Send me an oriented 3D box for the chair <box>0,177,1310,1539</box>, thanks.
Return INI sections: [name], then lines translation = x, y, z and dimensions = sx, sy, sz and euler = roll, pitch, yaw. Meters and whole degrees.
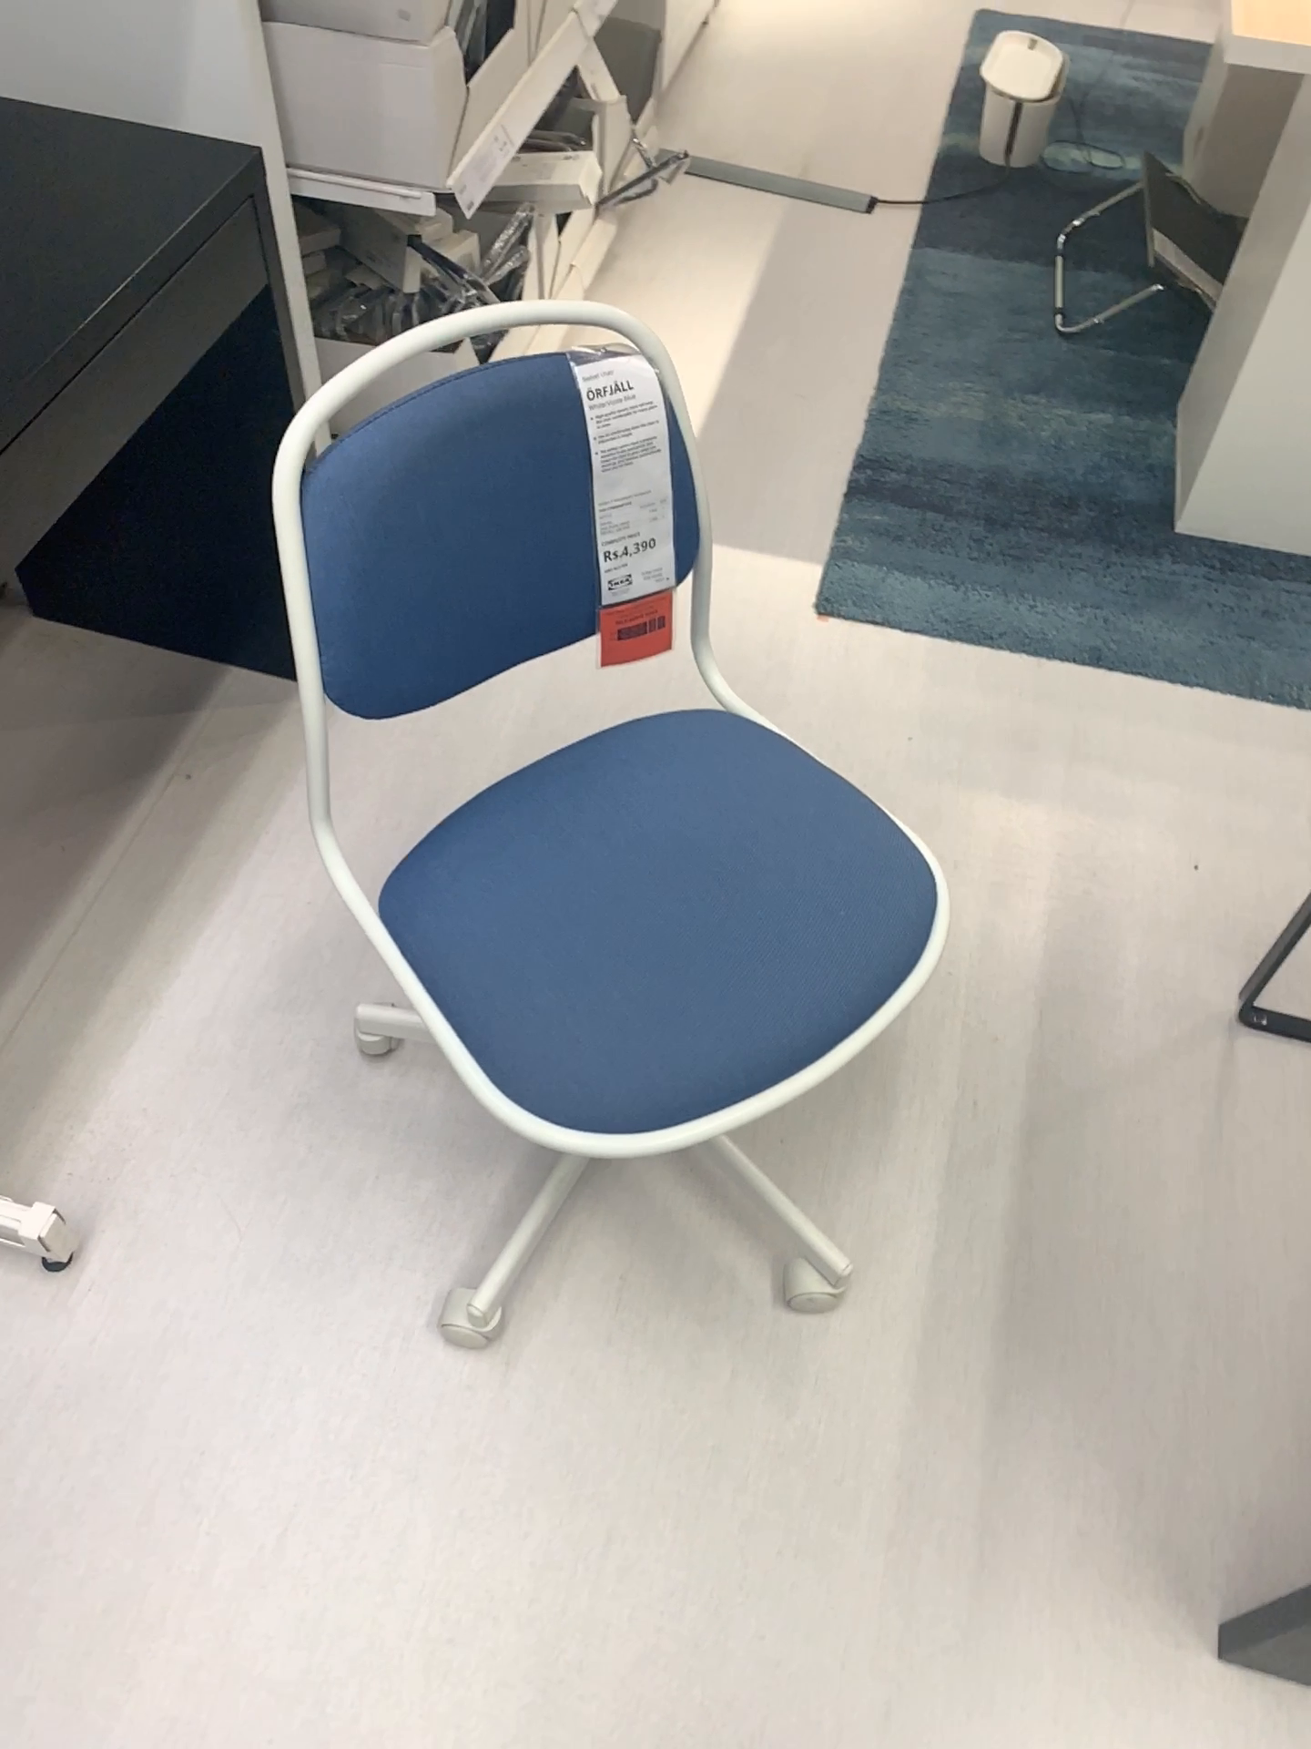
[chair]
translation = 0.000, 0.012, 1.145
dimensions = 0.641, 0.798, 0.601
euler = -29, 59, -22
